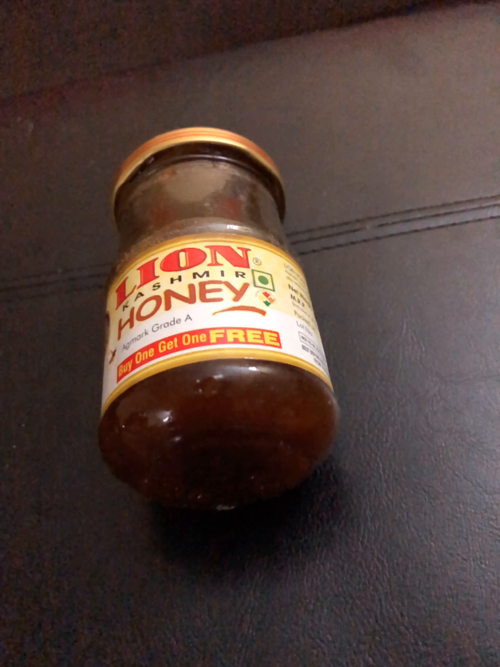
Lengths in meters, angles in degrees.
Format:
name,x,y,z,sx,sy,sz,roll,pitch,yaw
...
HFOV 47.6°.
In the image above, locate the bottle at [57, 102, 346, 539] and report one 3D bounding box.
name,x,y,z,sx,sy,sz,roll,pitch,yaw
bottle,-0.012,-0.006,0.170,0.060,0.059,0.108,-10,55,3
